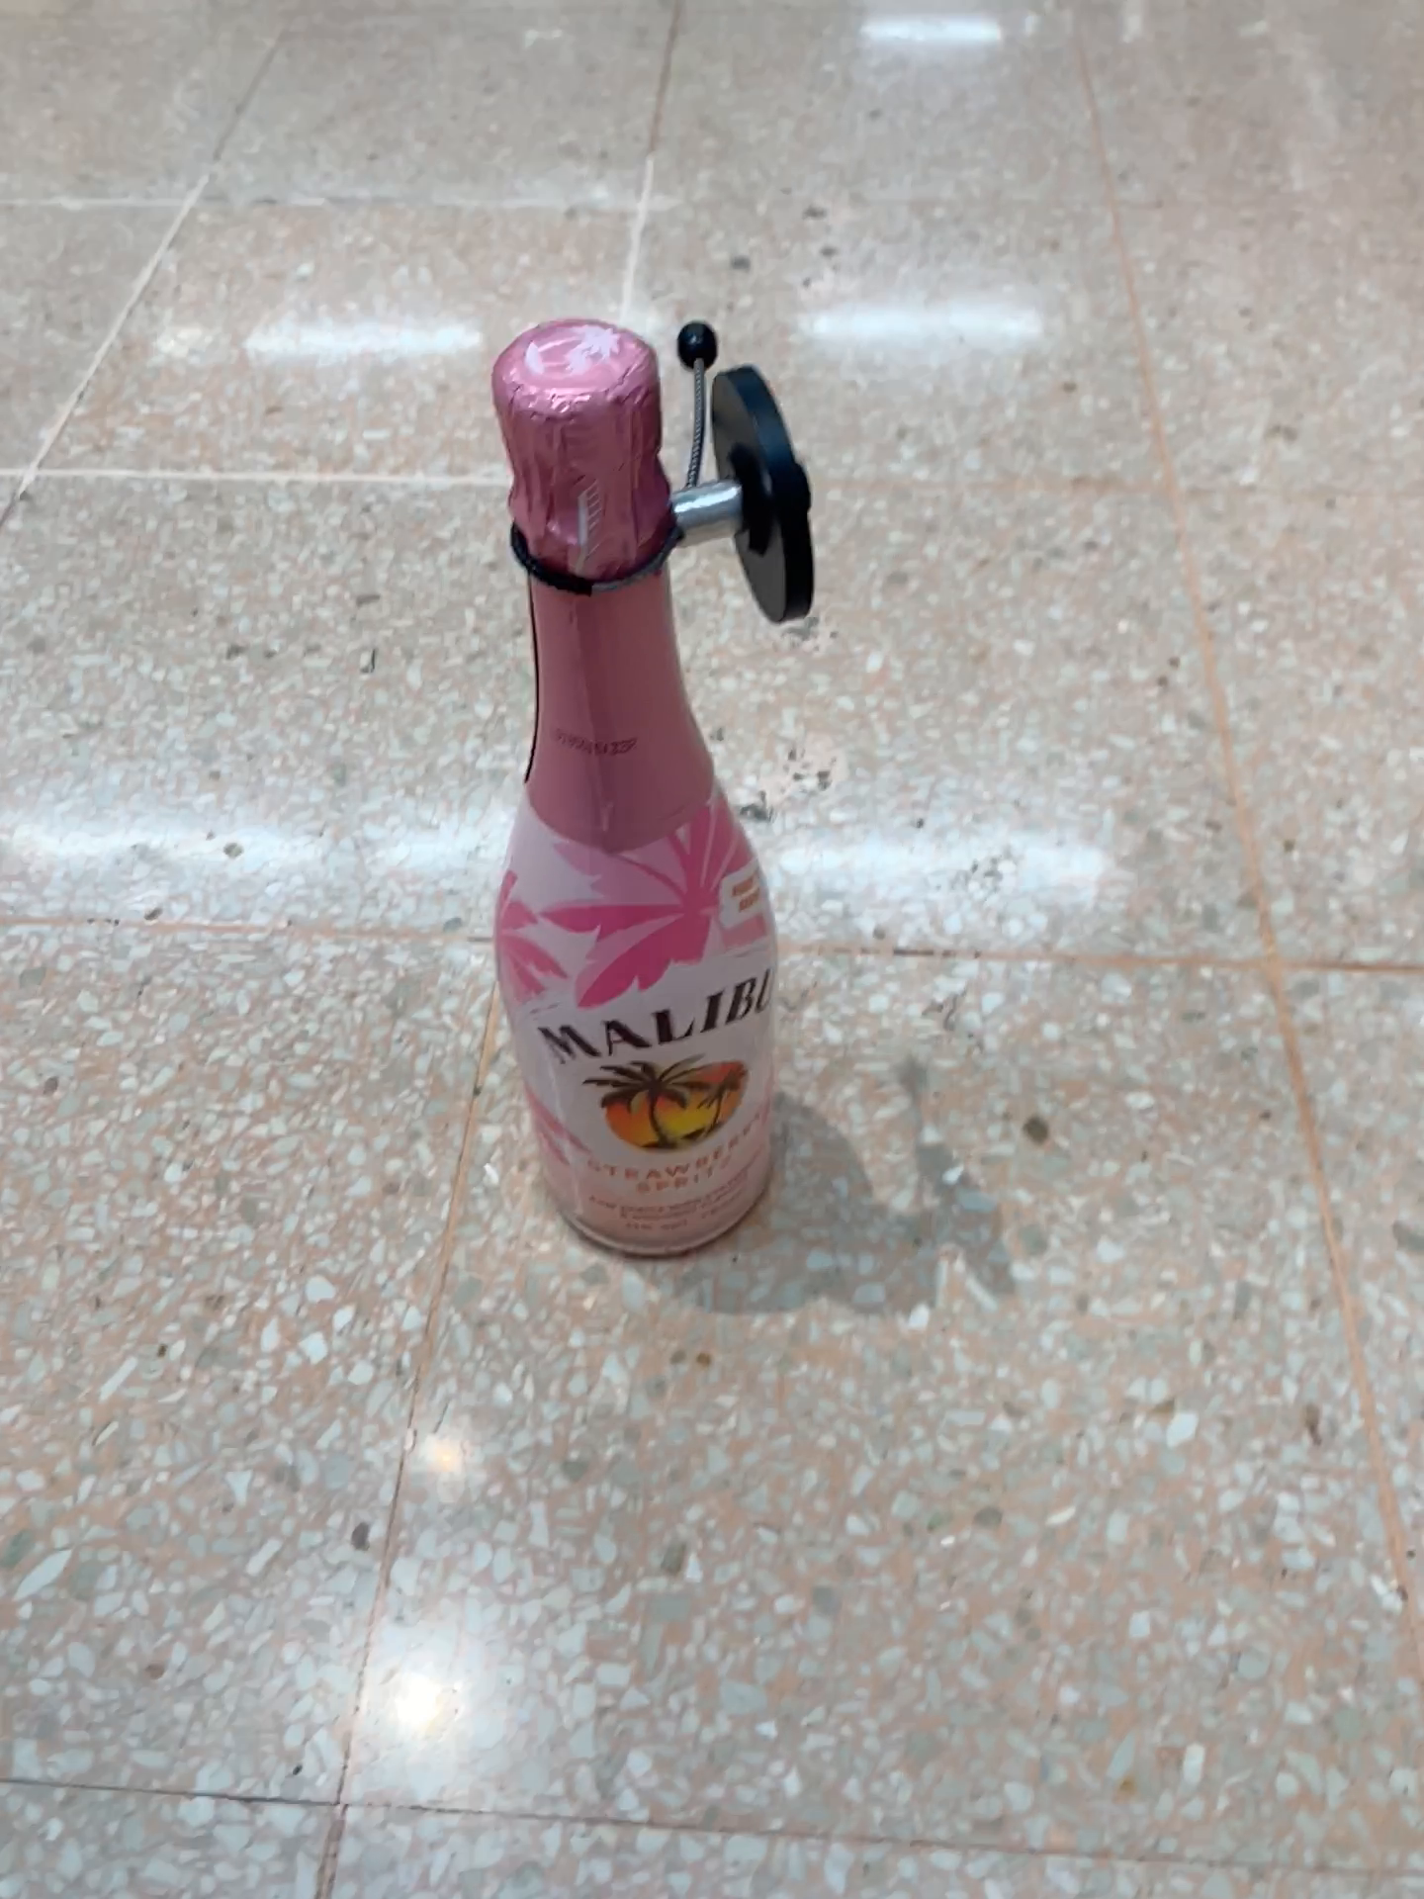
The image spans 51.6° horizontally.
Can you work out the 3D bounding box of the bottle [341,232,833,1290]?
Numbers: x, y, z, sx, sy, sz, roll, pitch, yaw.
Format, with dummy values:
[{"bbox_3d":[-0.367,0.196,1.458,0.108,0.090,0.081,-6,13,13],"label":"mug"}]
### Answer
[{"bbox_3d":[-0.023,-0.018,0.403,0.080,0.308,0.081,-1,52,1],"label":"bottle"}]
